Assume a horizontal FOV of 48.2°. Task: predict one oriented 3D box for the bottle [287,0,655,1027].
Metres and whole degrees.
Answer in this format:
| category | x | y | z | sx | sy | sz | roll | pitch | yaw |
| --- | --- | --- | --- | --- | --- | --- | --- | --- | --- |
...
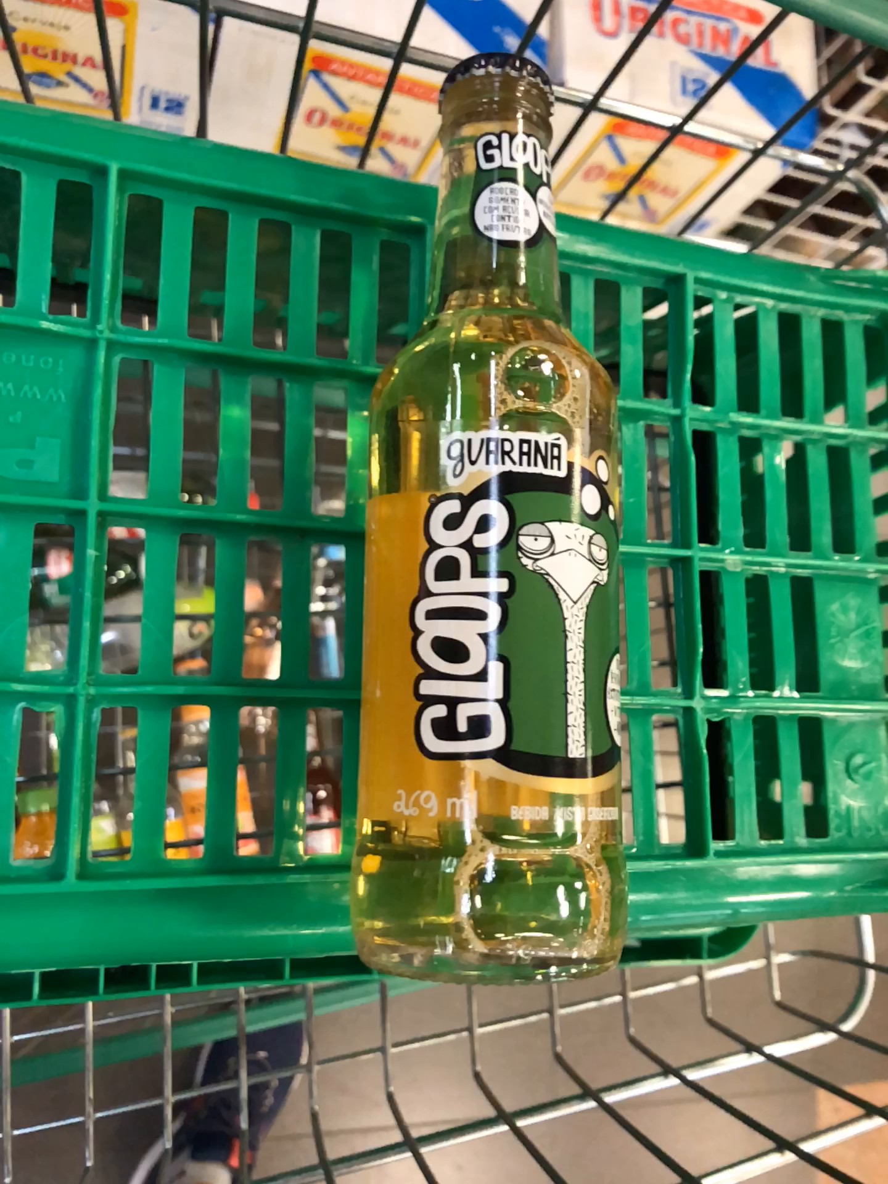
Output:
| category | x | y | z | sx | sy | sz | roll | pitch | yaw |
| --- | --- | --- | --- | --- | --- | --- | --- | --- | --- |
| bottle | 0.006 | -0.030 | 0.217 | 0.060 | 0.050 | 0.220 | 5 | 80 | -19 |
